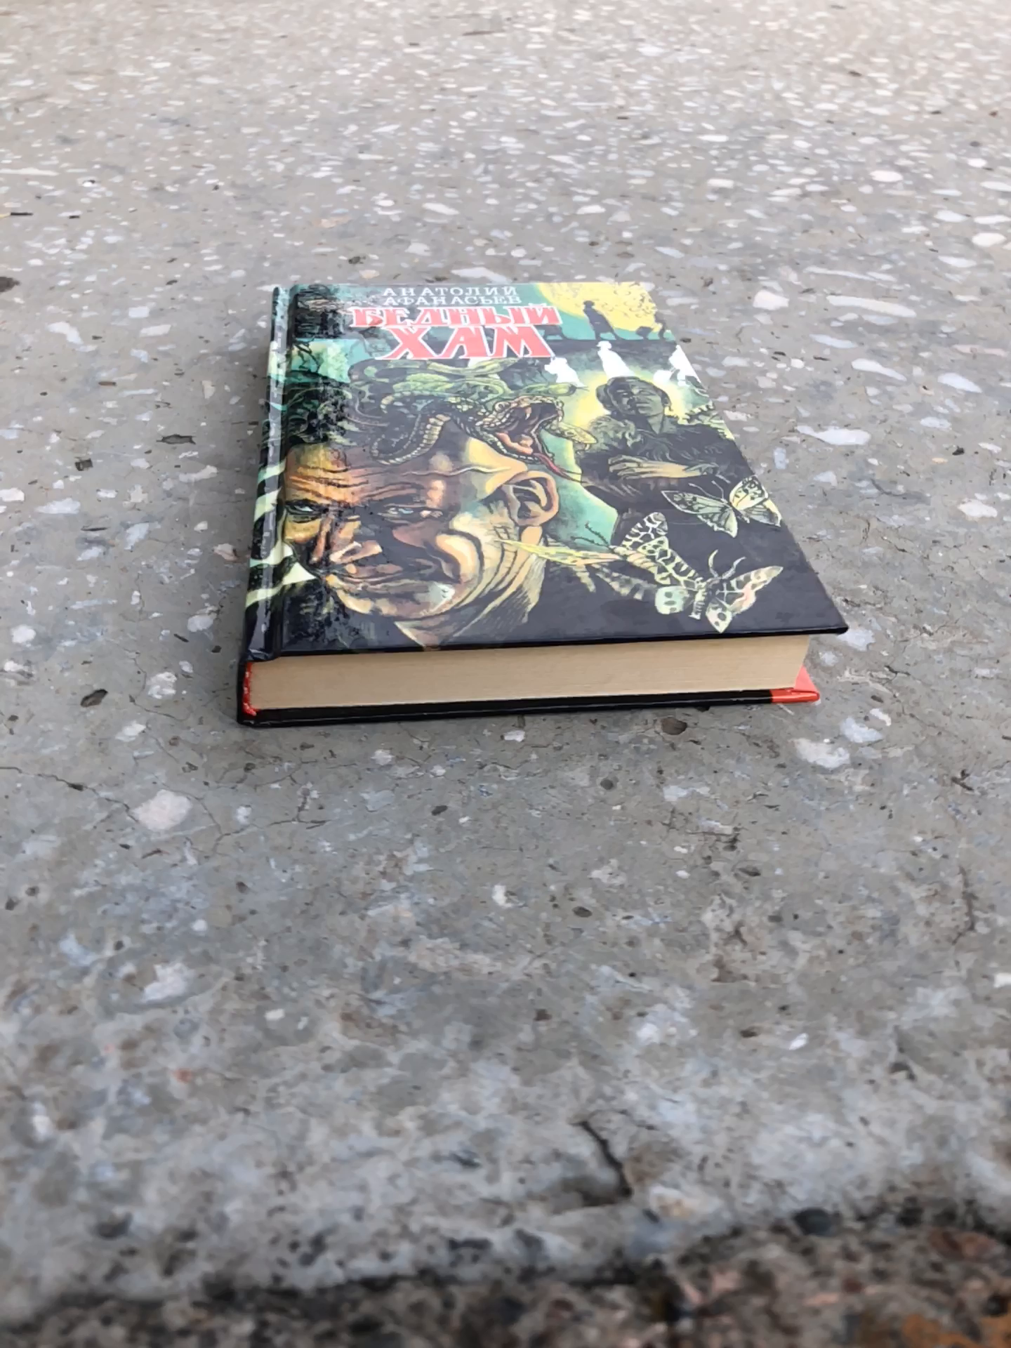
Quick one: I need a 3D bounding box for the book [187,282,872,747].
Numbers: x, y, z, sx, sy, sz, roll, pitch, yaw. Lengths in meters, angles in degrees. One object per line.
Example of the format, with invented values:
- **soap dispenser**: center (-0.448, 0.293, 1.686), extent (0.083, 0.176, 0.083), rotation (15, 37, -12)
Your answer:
- **book**: center (-0.004, -0.061, 0.315), extent (0.142, 0.020, 0.202), rotation (-2, 41, -6)
